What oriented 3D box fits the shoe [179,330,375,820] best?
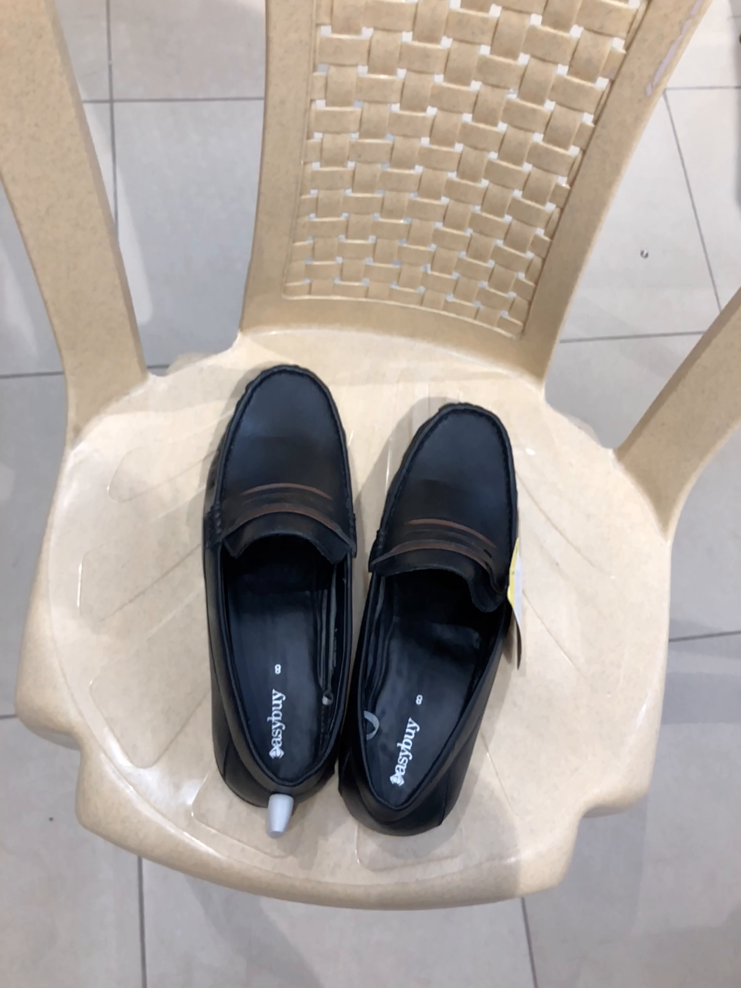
[{"bbox_3d":[-0.053,0.046,0.503,0.100,0.088,0.275,1,74,-5],"label":"shoe"}]

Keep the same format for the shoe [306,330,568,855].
[{"bbox_3d":[0.041,0.055,0.505,0.100,0.088,0.283,12,73,-2],"label":"shoe"}]
